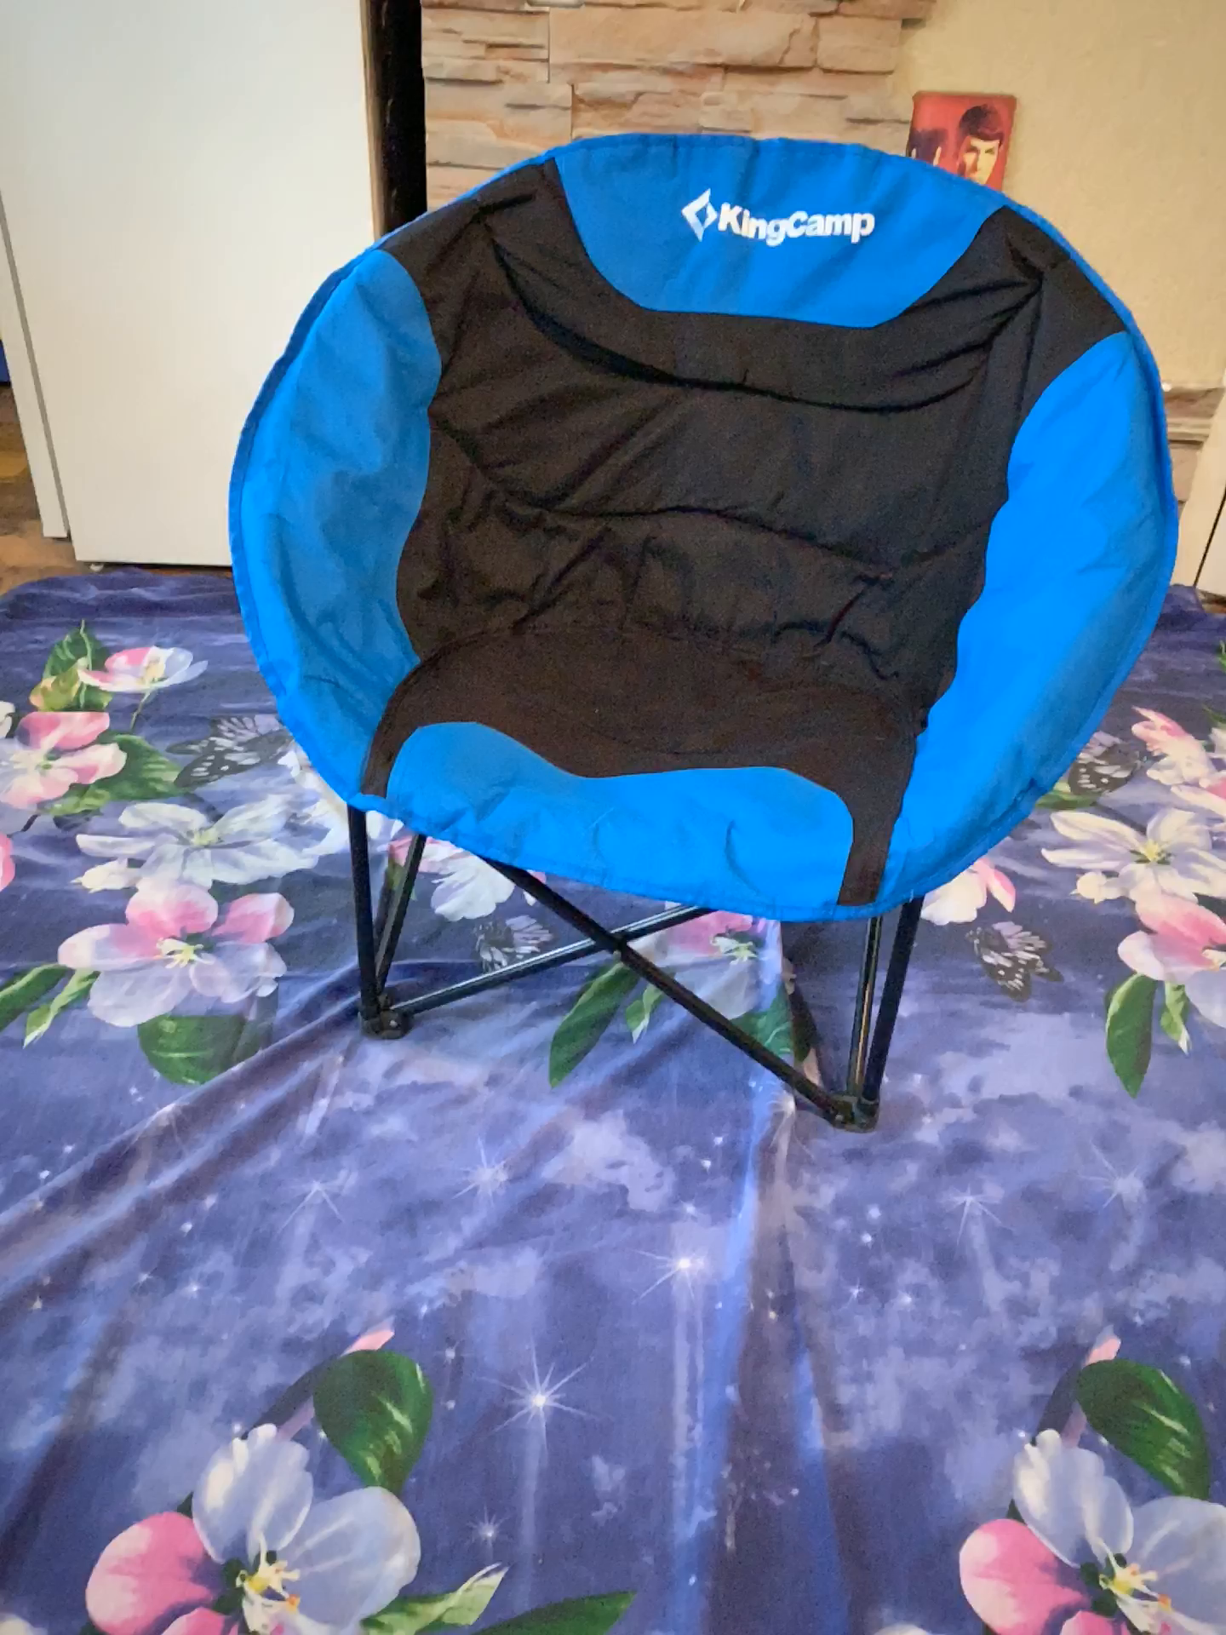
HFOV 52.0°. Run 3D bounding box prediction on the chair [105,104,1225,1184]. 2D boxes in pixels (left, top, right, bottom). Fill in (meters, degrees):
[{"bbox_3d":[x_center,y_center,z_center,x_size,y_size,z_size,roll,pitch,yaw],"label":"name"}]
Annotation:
[{"bbox_3d":[0.076,-0.216,1.257,0.760,0.772,0.613,11,35,10],"label":"chair"}]
